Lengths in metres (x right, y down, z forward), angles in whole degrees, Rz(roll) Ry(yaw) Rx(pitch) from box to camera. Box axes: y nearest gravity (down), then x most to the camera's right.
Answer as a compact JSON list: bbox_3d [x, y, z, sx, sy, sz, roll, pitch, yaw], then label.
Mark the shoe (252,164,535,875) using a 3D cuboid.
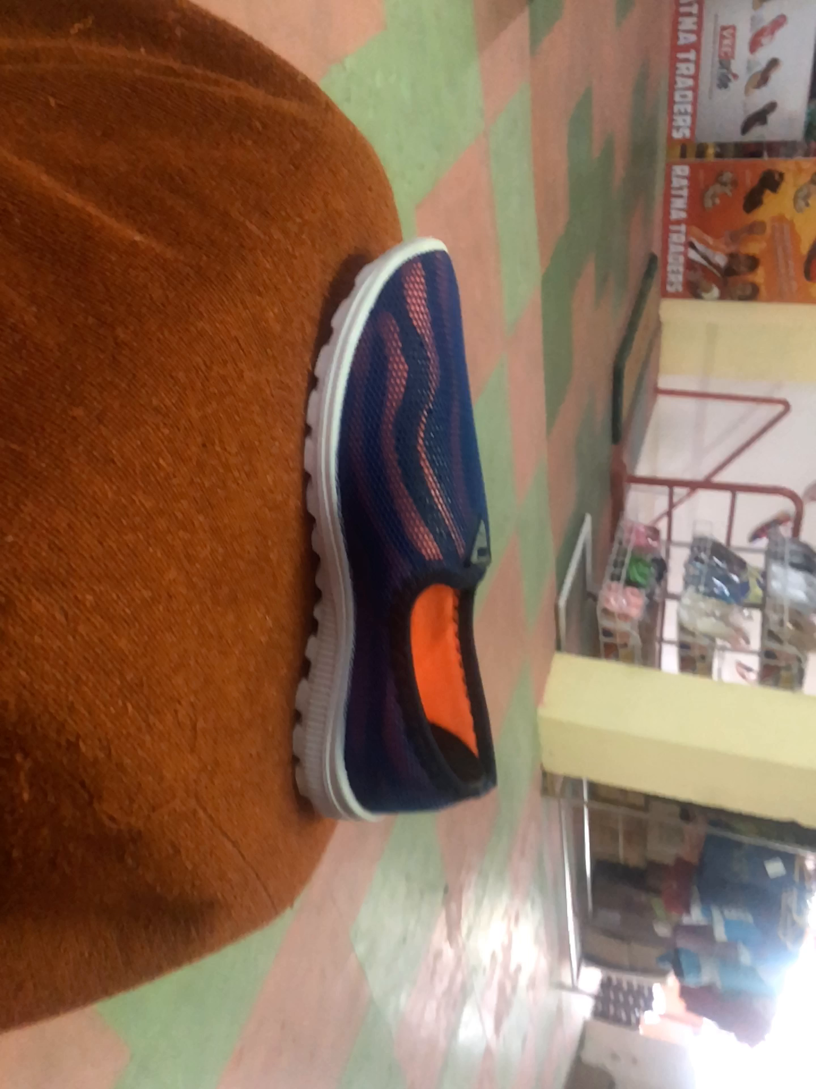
[{"bbox_3d":[-0.004,-0.011,0.382,0.091,0.070,0.260,-14,110,-69],"label":"shoe"}]
